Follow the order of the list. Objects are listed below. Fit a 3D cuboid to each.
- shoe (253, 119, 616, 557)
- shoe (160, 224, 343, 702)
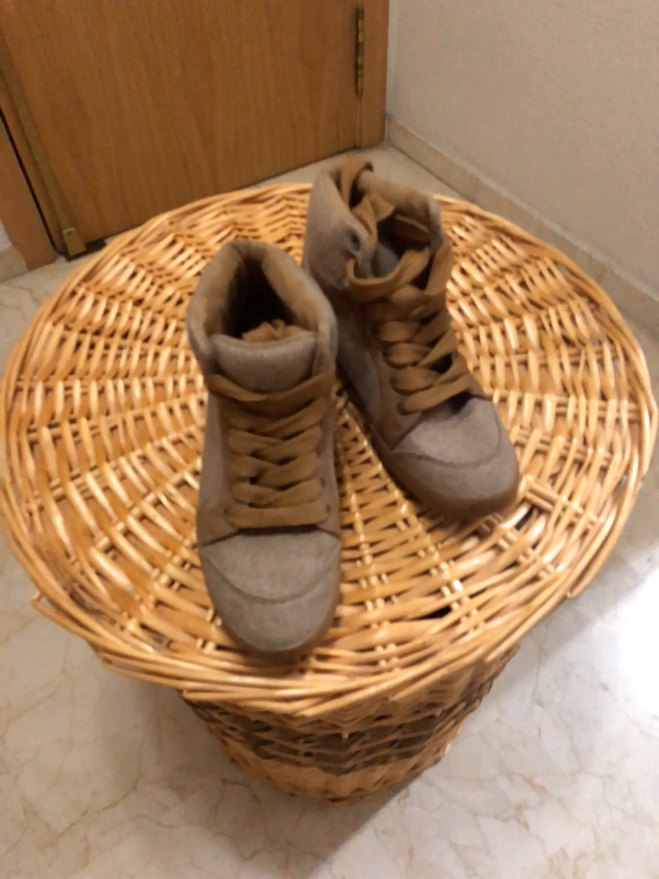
[{"bbox_3d":[0.051,-0.074,0.491,0.096,0.168,0.239,-24,54,-17],"label":"shoe"},{"bbox_3d":[-0.048,0.012,0.460,0.079,0.178,0.239,-7,51,-4],"label":"shoe"}]
